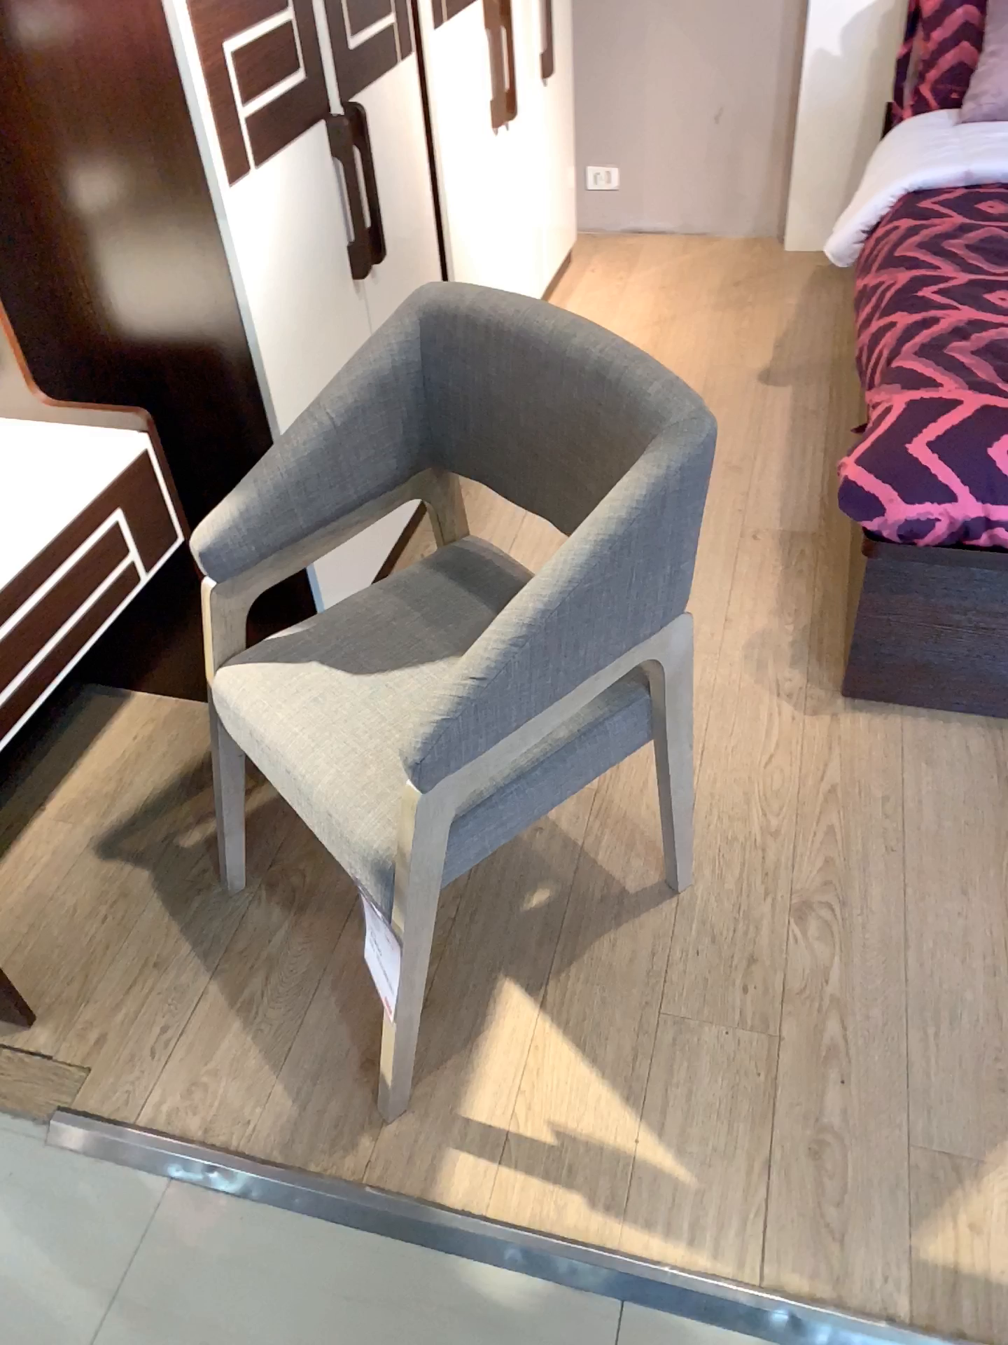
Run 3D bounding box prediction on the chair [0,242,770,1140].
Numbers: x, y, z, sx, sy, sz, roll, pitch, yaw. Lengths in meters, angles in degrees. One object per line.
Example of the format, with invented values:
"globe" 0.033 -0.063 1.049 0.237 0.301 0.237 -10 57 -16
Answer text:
"chair" -0.113 0.009 1.295 0.580 0.797 0.562 -30 47 -24
